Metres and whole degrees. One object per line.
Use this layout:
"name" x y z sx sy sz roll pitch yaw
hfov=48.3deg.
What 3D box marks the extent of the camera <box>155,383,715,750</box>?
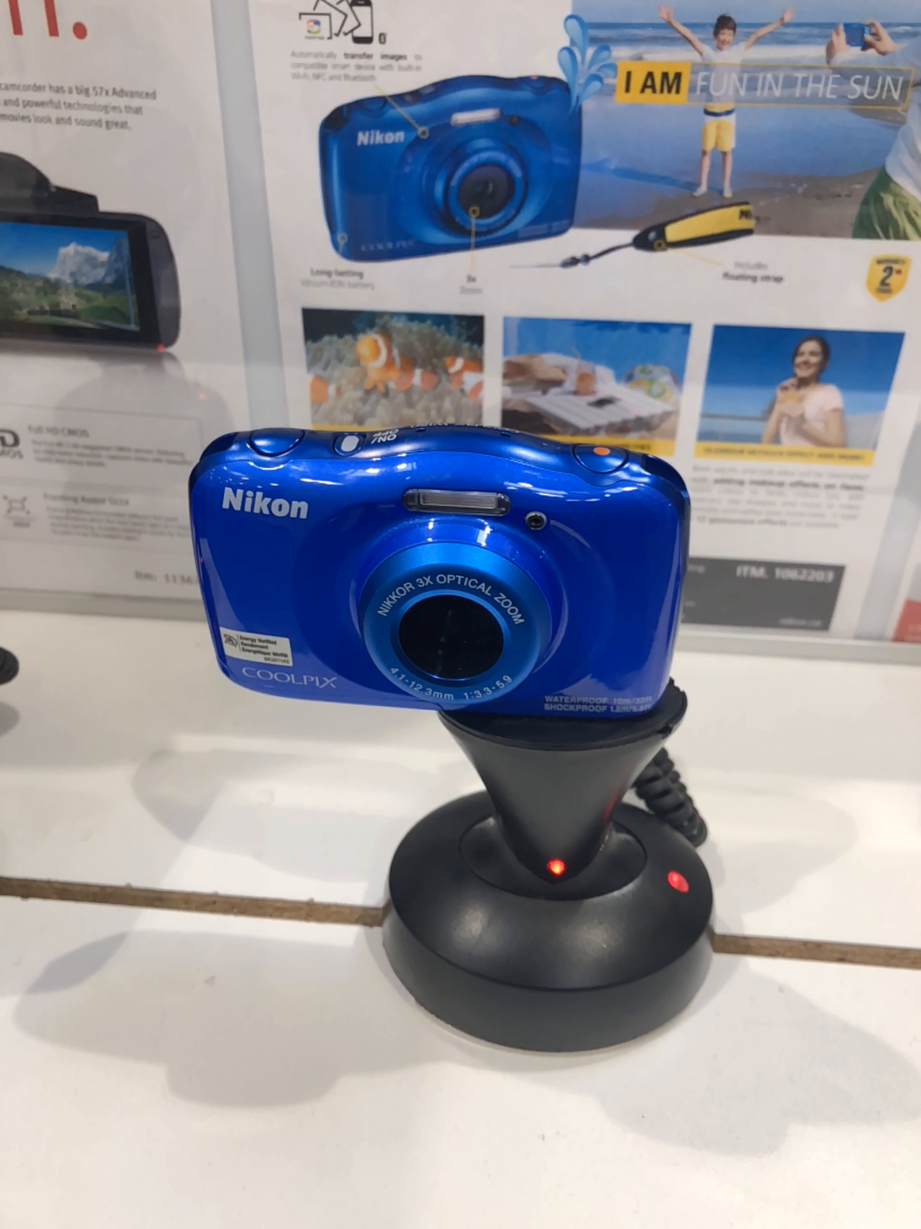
"camera" -0.004 -0.010 0.216 0.100 0.060 0.040 3 36 3
